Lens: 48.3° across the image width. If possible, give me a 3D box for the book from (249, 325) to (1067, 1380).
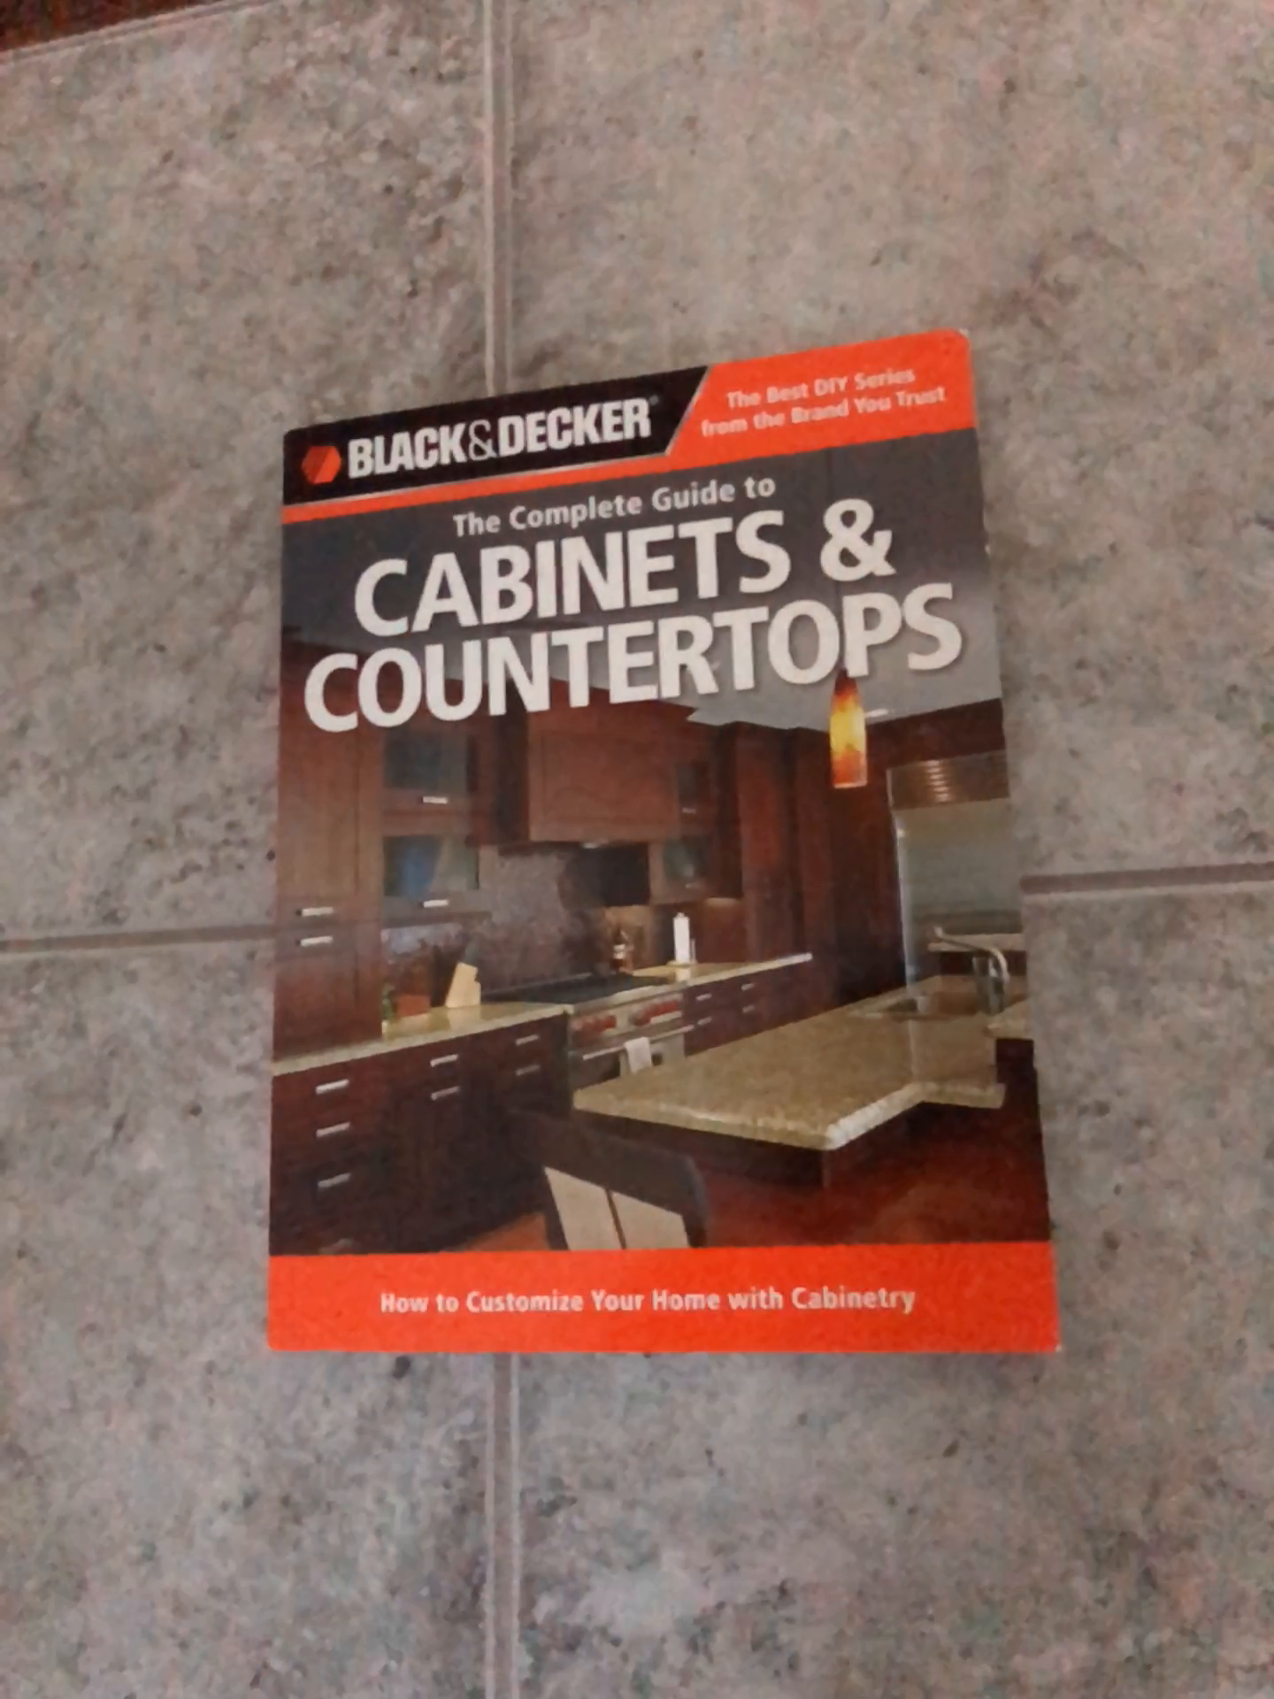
[{"bbox_3d":[-0.002,0.000,0.404,0.215,0.022,0.281,-4,78,13],"label":"book"}]
